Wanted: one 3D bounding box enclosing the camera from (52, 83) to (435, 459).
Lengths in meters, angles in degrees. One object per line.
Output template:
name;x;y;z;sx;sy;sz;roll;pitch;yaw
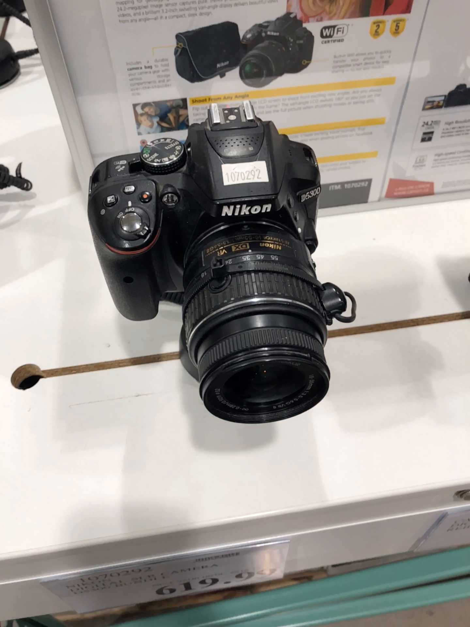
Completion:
camera;-0.007;-0.026;0.253;0.130;0.090;0.140;-9;52;-5
